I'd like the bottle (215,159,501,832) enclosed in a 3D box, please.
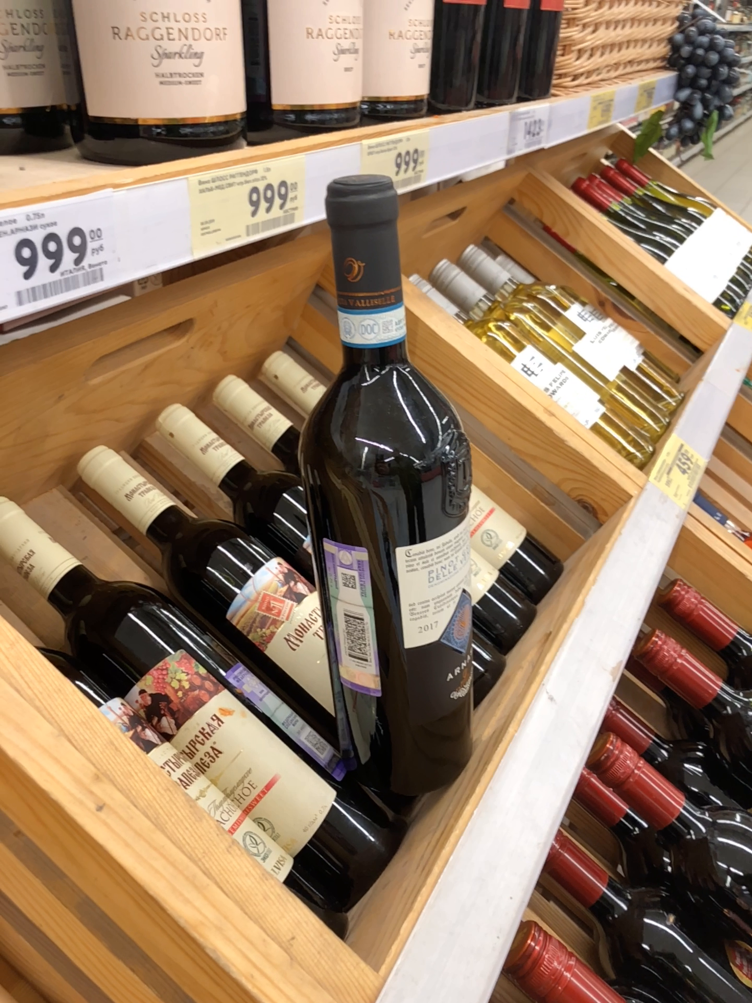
[{"bbox_3d":[0.006,0.005,0.418,0.080,0.318,0.090,10,30,28],"label":"bottle"}]
